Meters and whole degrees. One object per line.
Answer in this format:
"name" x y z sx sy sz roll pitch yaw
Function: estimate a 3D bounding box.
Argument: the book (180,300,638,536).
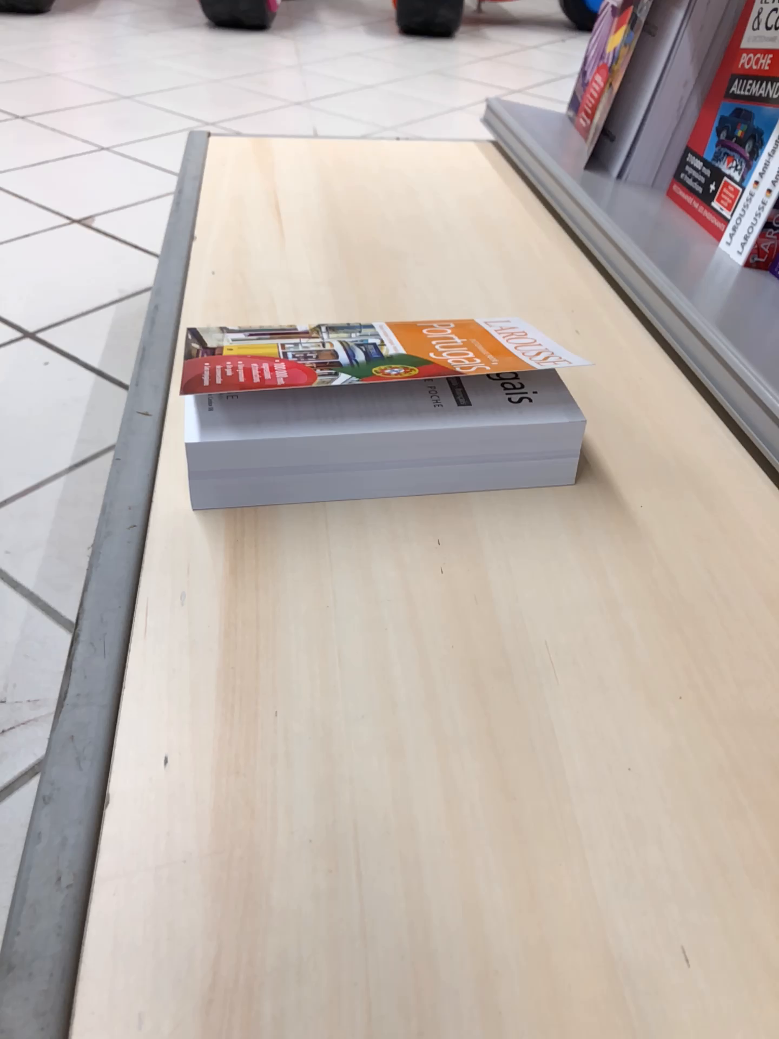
"book" 0.000 -0.054 0.400 0.185 0.046 0.118 -4 39 -10
